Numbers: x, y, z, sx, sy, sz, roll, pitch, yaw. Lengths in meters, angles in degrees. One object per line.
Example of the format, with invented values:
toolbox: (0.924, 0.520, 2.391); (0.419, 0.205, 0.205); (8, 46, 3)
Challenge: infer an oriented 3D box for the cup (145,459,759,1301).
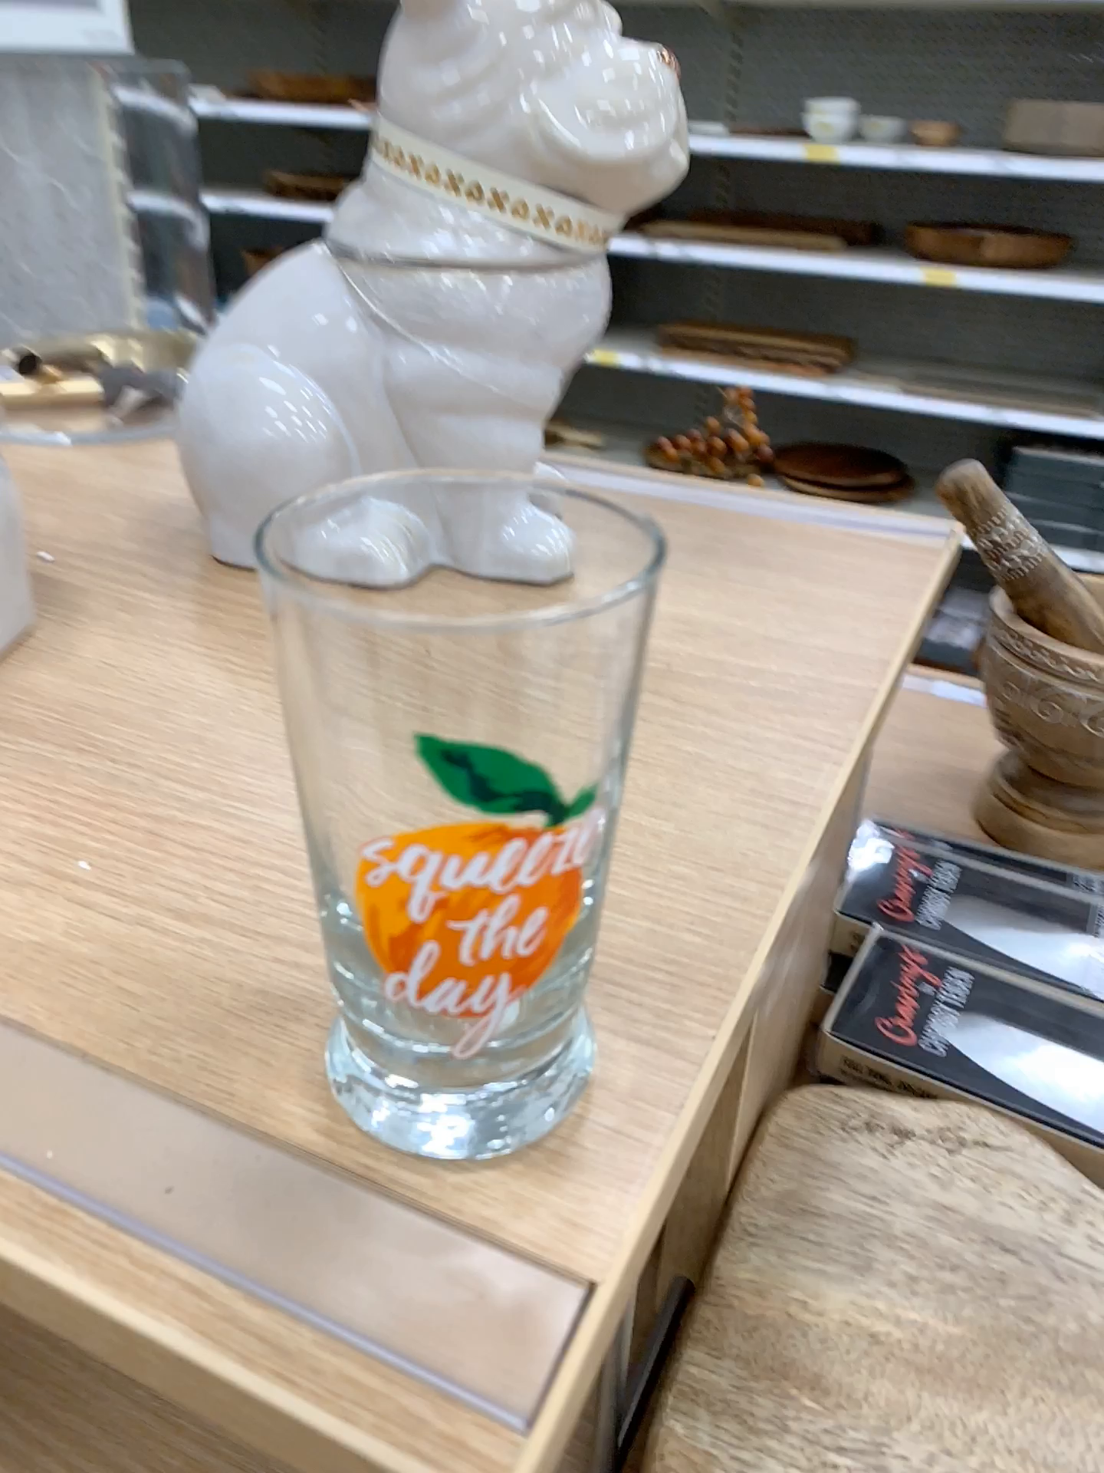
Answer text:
cup: (-0.023, 0.022, 0.209); (0.080, 0.119, 0.080); (2, 30, -1)
